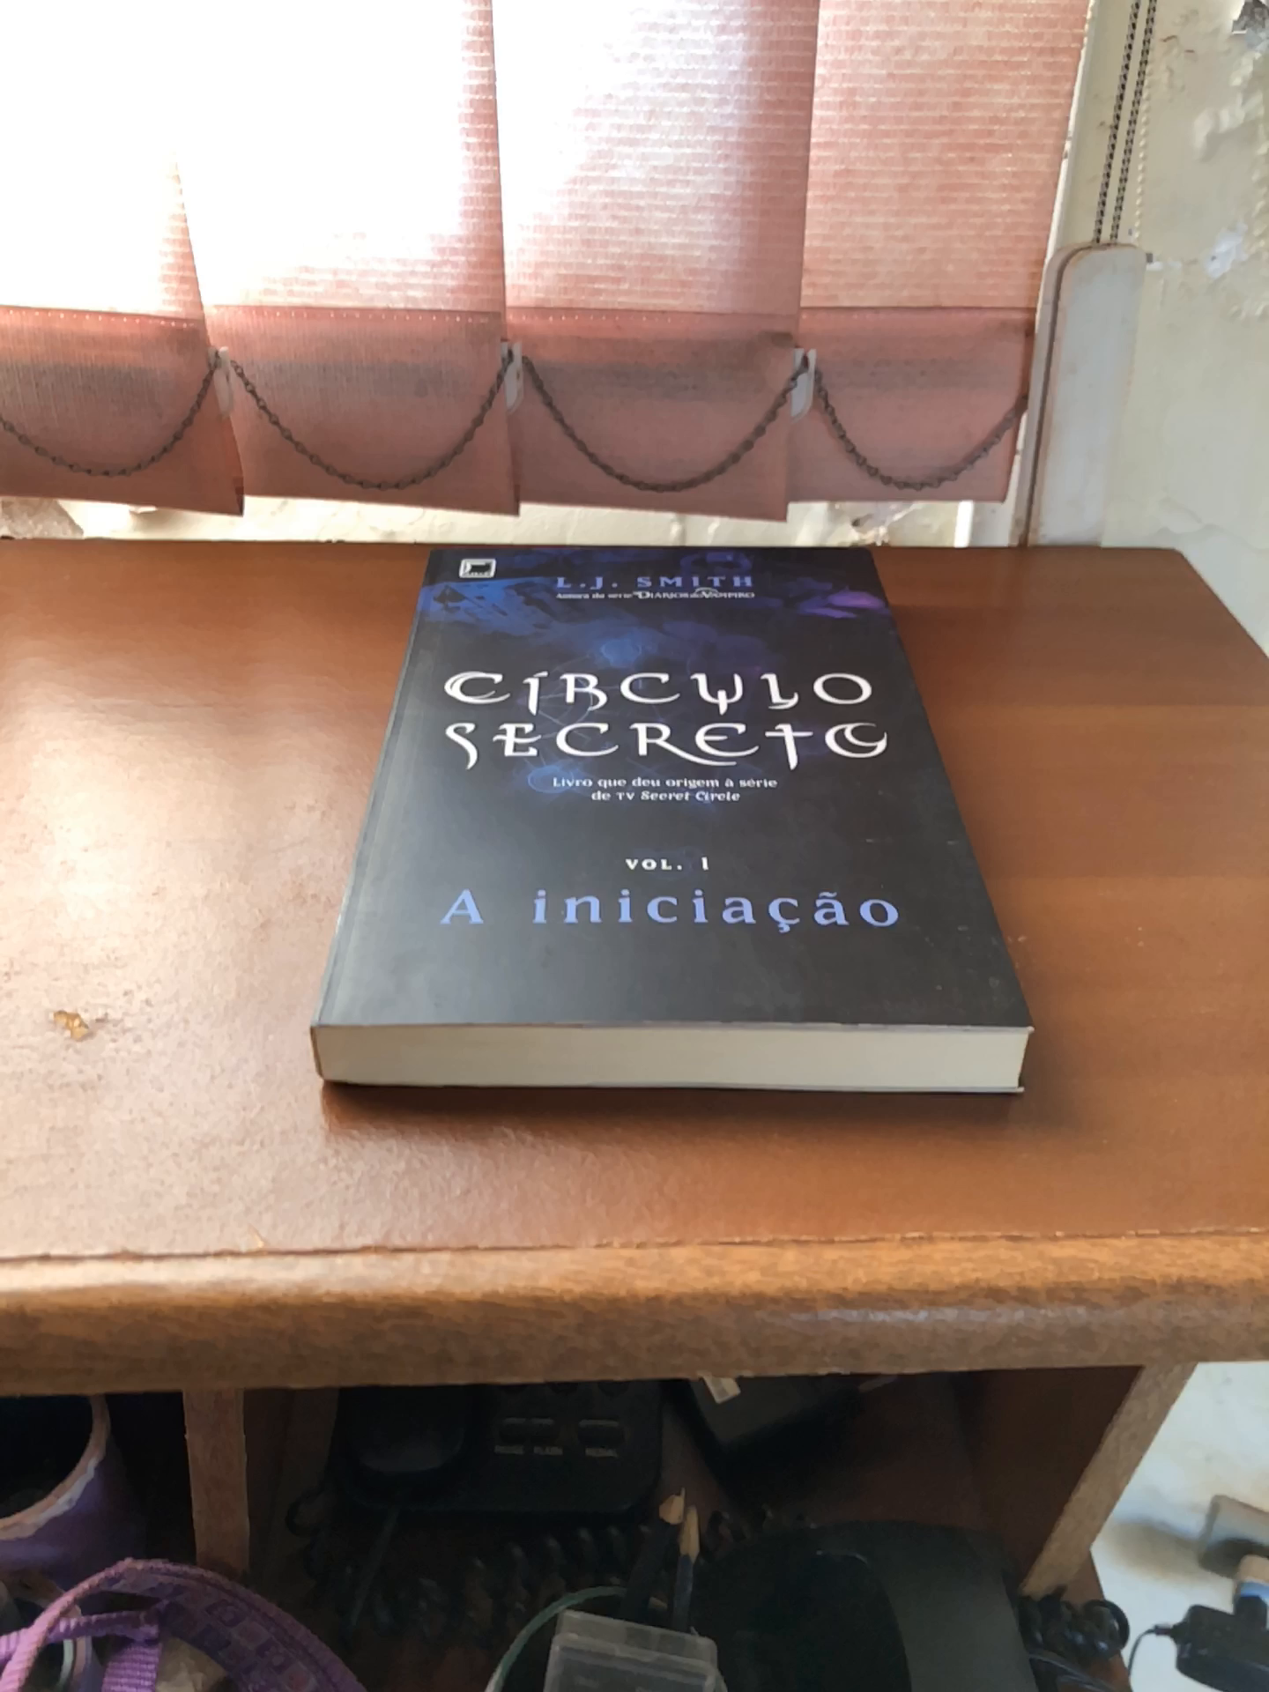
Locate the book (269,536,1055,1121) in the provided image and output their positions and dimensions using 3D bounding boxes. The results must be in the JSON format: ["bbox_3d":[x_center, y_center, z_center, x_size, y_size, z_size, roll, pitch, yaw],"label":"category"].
[{"bbox_3d":[0.002,-0.020,0.344,0.140,0.024,0.215,1,35,-2],"label":"book"}]
